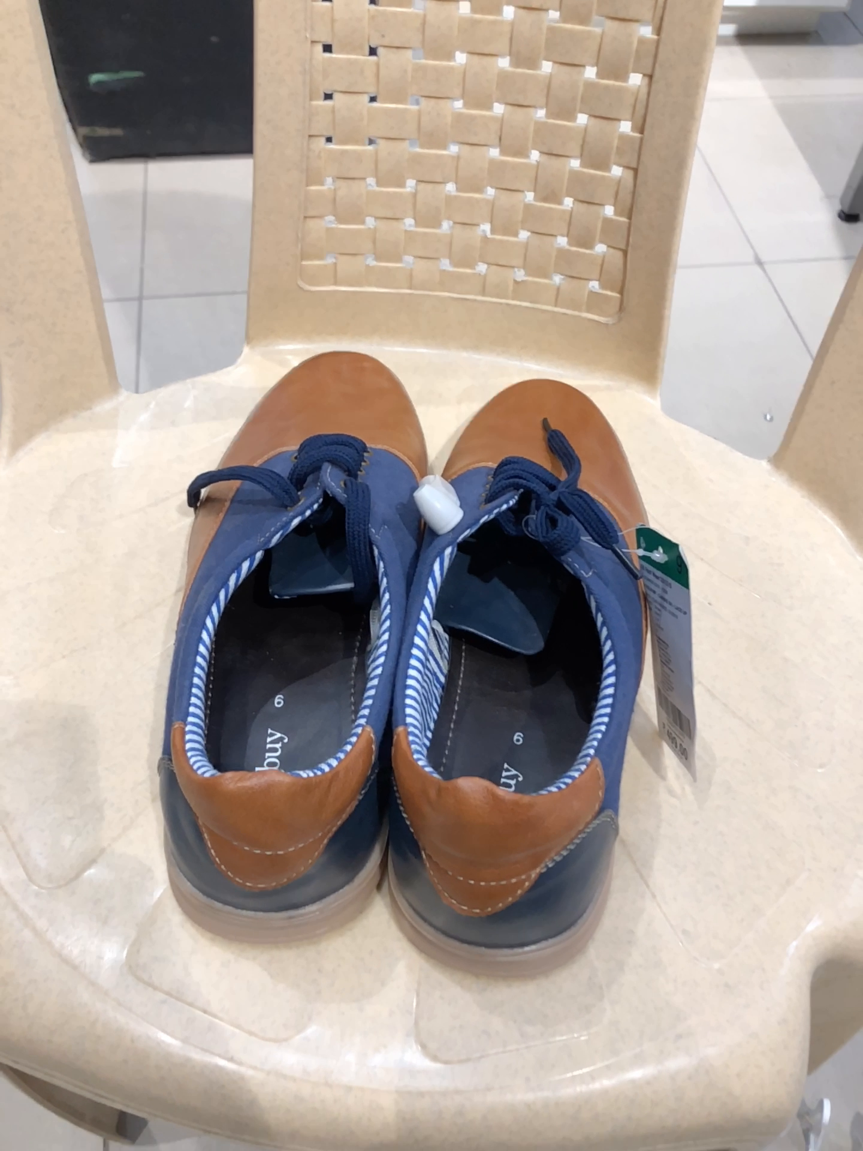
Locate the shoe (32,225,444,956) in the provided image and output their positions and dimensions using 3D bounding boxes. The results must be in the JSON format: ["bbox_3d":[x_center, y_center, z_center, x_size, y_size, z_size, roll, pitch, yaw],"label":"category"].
[{"bbox_3d":[-0.051,-0.004,0.361,0.103,0.112,0.255,1,55,-2],"label":"shoe"}]

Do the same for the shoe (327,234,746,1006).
[{"bbox_3d":[0.039,0.006,0.356,0.103,0.119,0.252,7,55,2],"label":"shoe"}]
